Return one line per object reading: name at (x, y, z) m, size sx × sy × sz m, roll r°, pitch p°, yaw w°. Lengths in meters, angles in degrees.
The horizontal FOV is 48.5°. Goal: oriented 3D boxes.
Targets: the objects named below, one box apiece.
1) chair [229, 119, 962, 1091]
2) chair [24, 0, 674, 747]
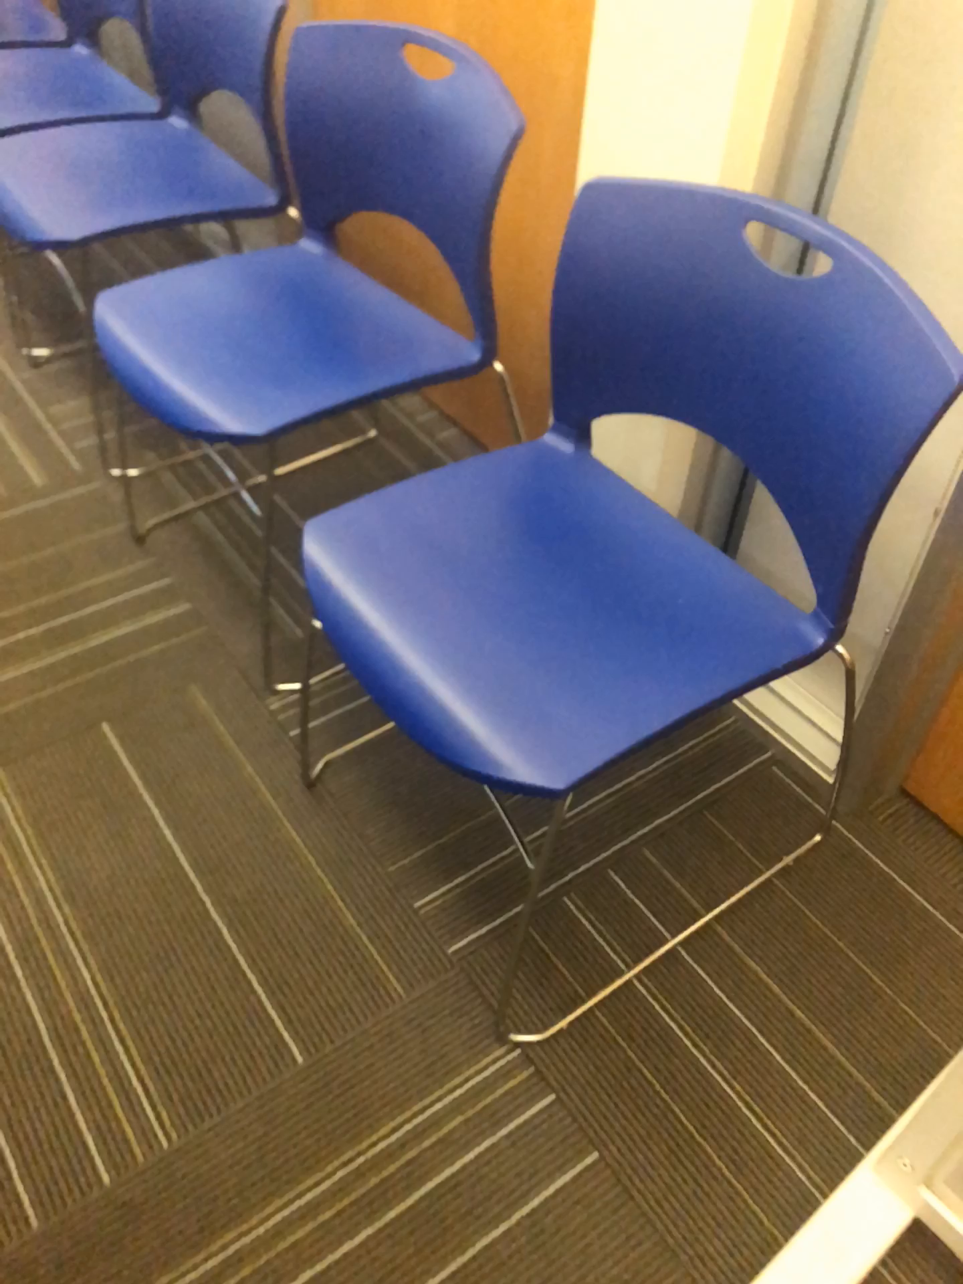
chair at (0.149, -0.053, 1.204) m, size 0.593 × 0.773 × 0.542 m, roll -24°, pitch 50°, yaw -27°
chair at (-0.186, -0.421, 1.637) m, size 0.634 × 0.853 × 0.521 m, roll -26°, pitch 51°, yaw -28°
